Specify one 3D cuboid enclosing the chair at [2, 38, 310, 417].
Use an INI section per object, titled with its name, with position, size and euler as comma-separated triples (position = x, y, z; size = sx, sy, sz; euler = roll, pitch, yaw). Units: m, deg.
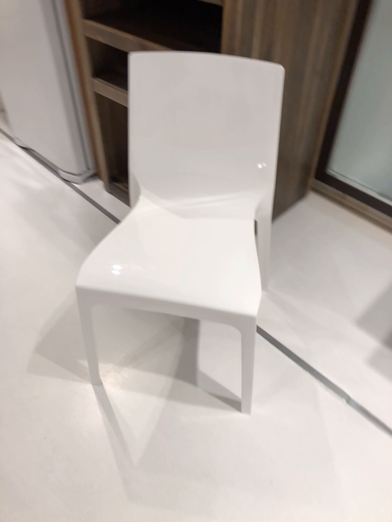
[chair]
position = -0.029, -0.060, 1.102
size = 0.480, 0.755, 0.524
euler = 8, 46, 7
